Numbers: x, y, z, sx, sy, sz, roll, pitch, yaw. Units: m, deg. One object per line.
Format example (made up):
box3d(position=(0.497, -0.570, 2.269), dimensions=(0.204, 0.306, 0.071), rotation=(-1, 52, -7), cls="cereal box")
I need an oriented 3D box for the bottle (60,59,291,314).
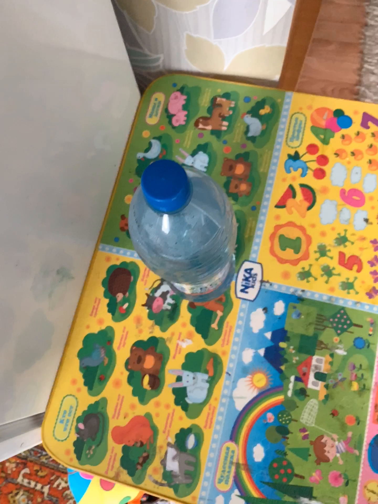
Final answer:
box3d(position=(0.005, -0.021, 0.393), dimensions=(0.100, 0.319, 0.100), rotation=(-1, 77, 5), cls="bottle")
